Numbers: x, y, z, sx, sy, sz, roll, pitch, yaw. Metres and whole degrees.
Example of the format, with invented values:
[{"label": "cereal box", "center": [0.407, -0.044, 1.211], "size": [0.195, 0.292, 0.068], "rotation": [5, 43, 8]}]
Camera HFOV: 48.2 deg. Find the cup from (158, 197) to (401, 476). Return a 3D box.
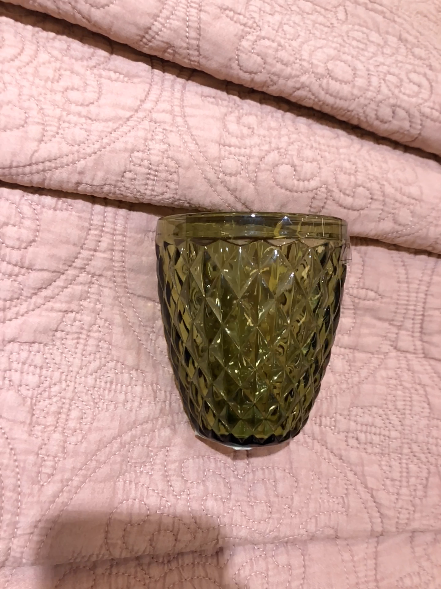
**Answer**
[{"label": "cup", "center": [0.020, 0.012, 0.220], "size": [0.080, 0.070, 0.100], "rotation": [0, 97, -20]}]
